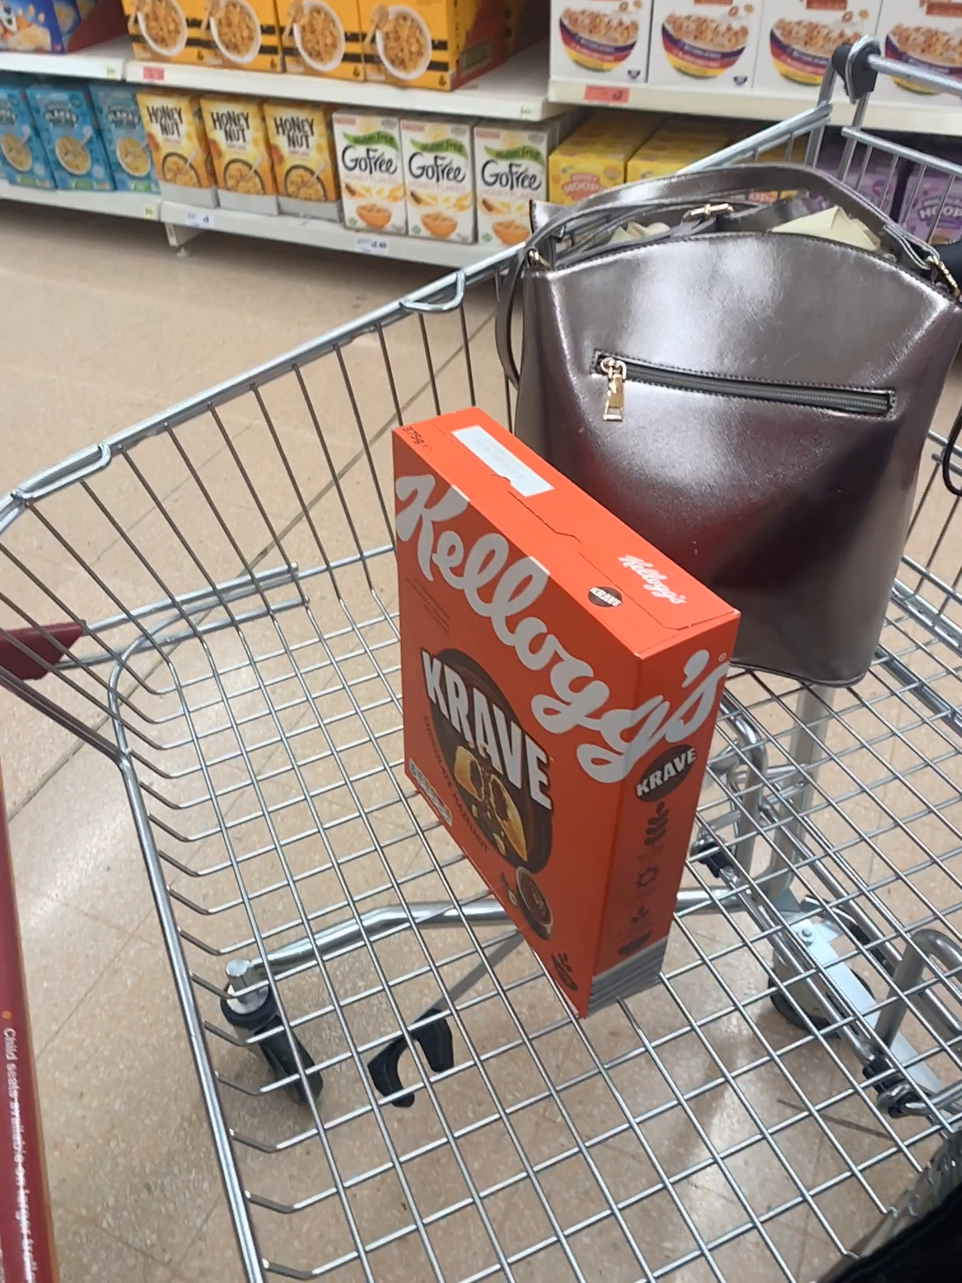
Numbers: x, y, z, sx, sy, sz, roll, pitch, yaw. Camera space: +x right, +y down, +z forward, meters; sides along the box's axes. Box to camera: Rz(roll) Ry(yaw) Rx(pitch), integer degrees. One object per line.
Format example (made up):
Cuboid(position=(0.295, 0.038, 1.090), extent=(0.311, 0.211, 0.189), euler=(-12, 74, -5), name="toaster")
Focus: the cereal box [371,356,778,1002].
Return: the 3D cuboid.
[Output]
Cuboid(position=(0.024, 0.017, 0.470), extent=(0.050, 0.228, 0.212), euler=(-21, 45, -24), name="cereal box")
